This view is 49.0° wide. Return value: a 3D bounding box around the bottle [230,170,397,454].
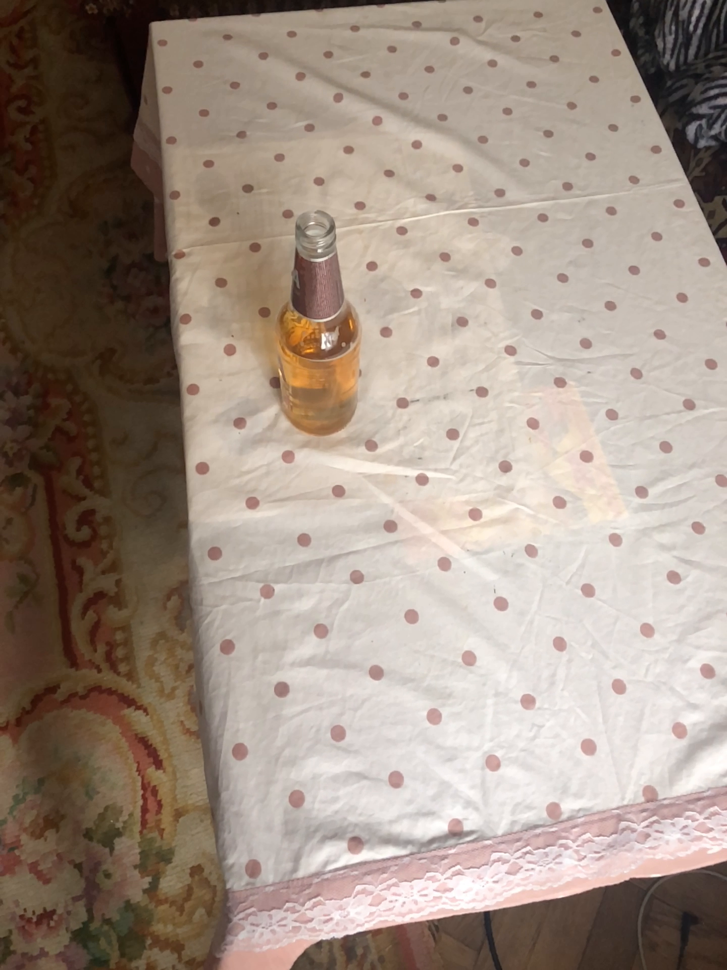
[{"bbox_3d":[-0.038,-0.119,0.610,0.080,0.209,0.080,2,65,-3],"label":"bottle"}]
